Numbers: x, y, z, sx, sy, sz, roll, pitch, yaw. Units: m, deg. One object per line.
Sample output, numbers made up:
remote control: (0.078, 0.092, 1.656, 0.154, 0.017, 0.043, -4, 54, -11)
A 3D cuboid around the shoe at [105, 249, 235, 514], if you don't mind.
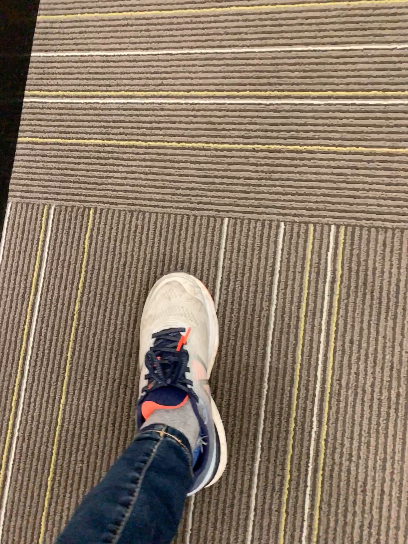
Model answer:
shoe: (-0.038, 0.120, 0.489, 0.110, 0.090, 0.270, -7, 82, 12)
